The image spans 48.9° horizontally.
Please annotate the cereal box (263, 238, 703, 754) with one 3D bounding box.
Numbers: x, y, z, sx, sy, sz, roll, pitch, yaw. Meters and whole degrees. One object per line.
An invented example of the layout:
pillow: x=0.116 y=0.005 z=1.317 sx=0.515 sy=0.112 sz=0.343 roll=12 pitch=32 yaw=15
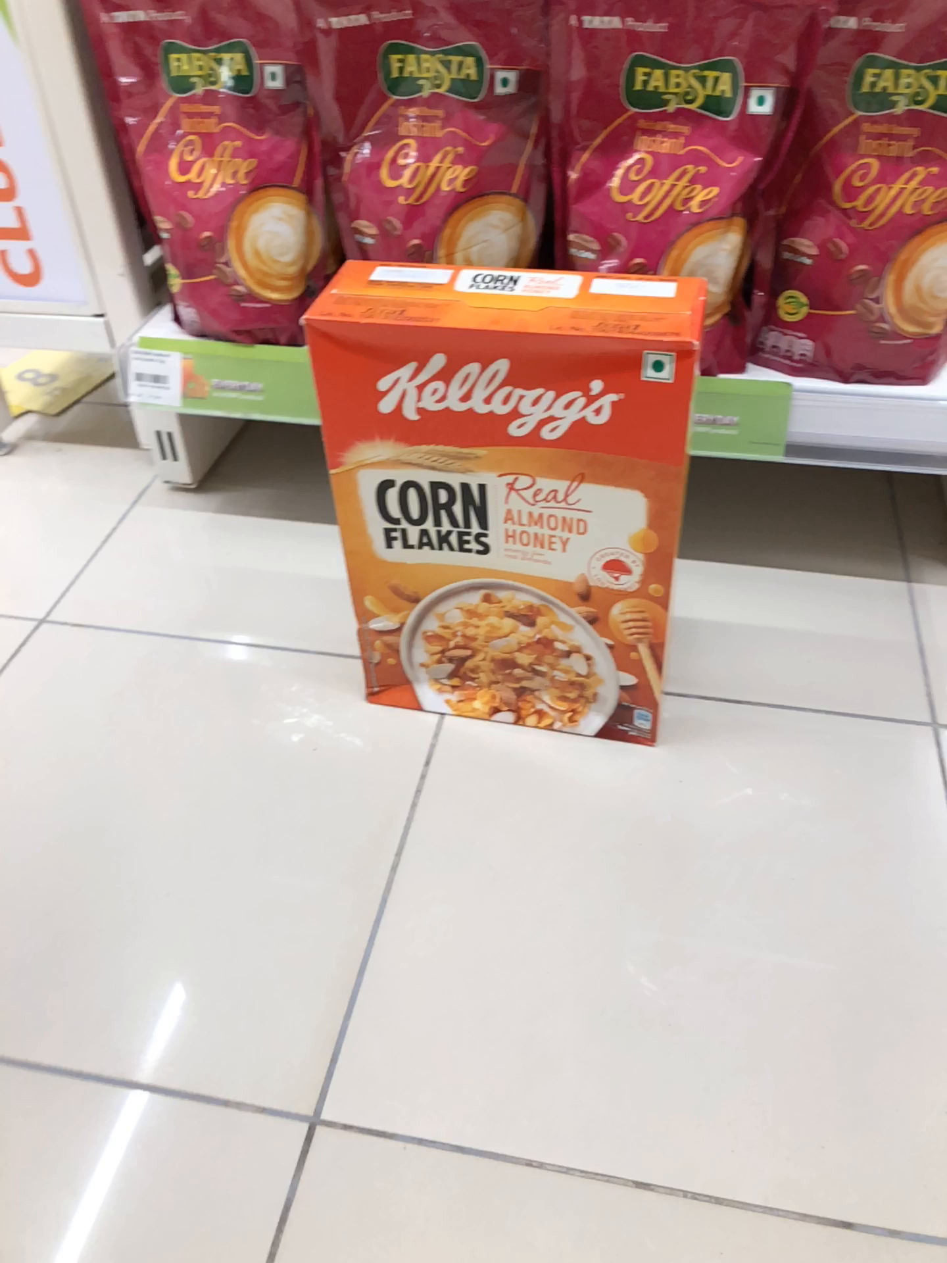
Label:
cereal box: x=0.012 y=-0.069 z=0.591 sx=0.200 sy=0.268 sz=0.081 roll=8 pitch=41 yaw=13
